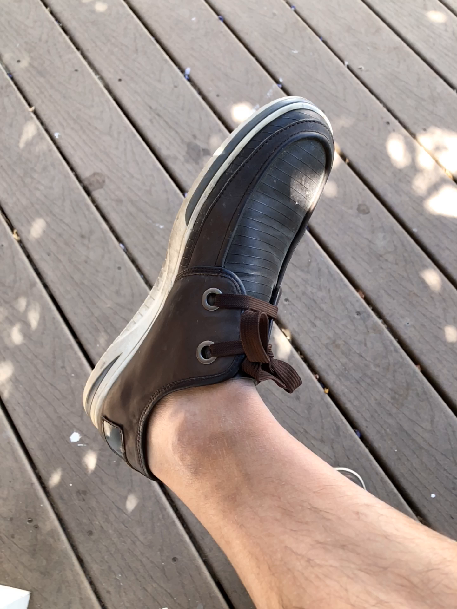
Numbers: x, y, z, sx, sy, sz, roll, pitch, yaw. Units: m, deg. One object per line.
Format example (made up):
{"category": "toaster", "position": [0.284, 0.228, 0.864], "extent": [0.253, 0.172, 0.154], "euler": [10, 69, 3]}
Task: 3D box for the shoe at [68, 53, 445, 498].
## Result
{"category": "shoe", "position": [0.005, -0.003, 0.350], "extent": [0.092, 0.103, 0.275], "euler": [48, 116, 37]}
